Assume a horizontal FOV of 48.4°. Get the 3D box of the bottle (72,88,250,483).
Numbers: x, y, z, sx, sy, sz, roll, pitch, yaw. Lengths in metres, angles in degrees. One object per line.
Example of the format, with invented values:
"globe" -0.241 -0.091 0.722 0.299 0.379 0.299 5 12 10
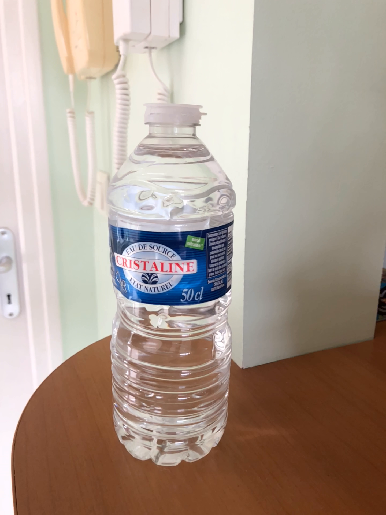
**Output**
"bottle" -0.012 0.012 0.238 0.070 0.189 0.070 1 14 0
